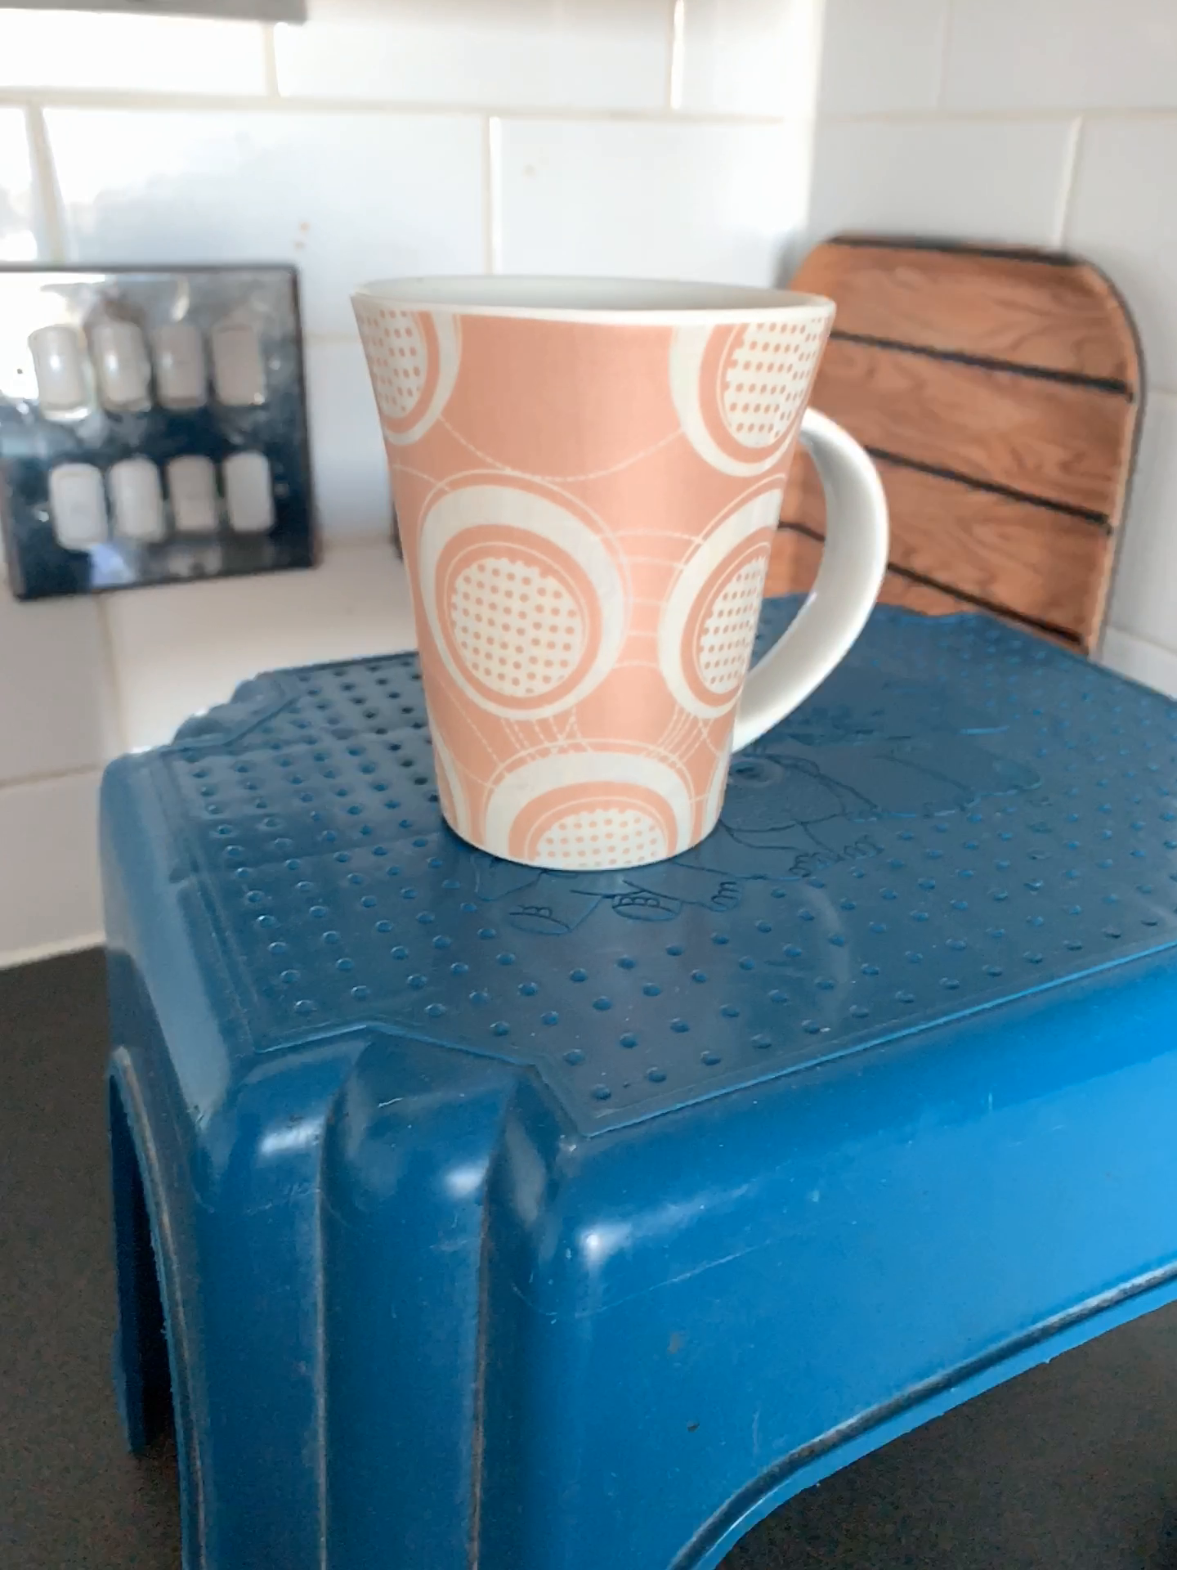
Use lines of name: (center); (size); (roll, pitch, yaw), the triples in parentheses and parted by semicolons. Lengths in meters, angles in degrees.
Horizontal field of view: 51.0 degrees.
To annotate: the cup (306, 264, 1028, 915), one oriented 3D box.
cup: (0.012, -0.050, 0.261); (0.116, 0.105, 0.078); (-12, 29, -25)
